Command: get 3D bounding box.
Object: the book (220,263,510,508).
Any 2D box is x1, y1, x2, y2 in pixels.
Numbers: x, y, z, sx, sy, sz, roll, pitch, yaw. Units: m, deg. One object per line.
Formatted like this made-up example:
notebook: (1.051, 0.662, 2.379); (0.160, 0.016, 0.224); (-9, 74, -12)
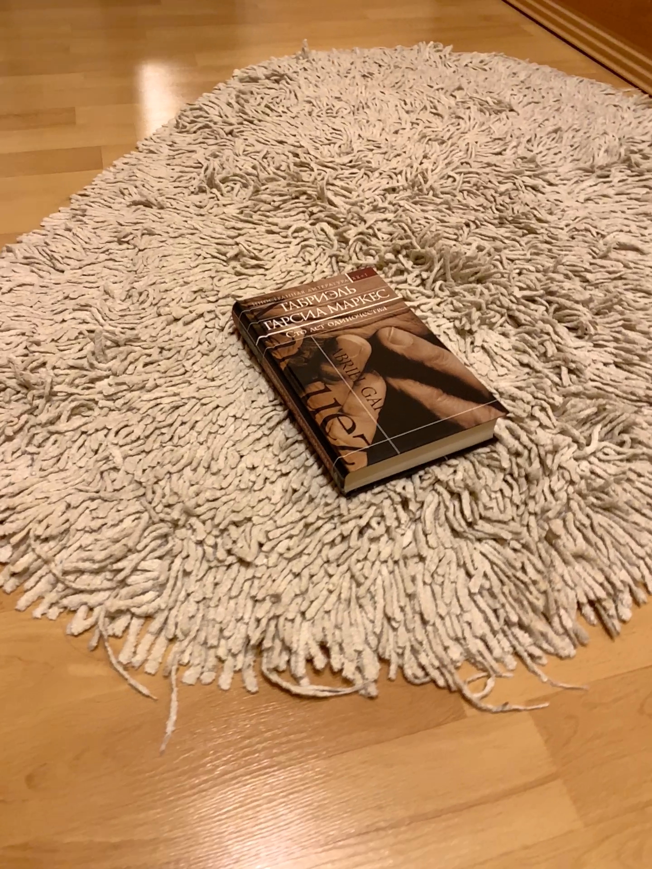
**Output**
book: (0.020, -0.053, 0.522); (0.140, 0.030, 0.211); (-18, 50, -19)
